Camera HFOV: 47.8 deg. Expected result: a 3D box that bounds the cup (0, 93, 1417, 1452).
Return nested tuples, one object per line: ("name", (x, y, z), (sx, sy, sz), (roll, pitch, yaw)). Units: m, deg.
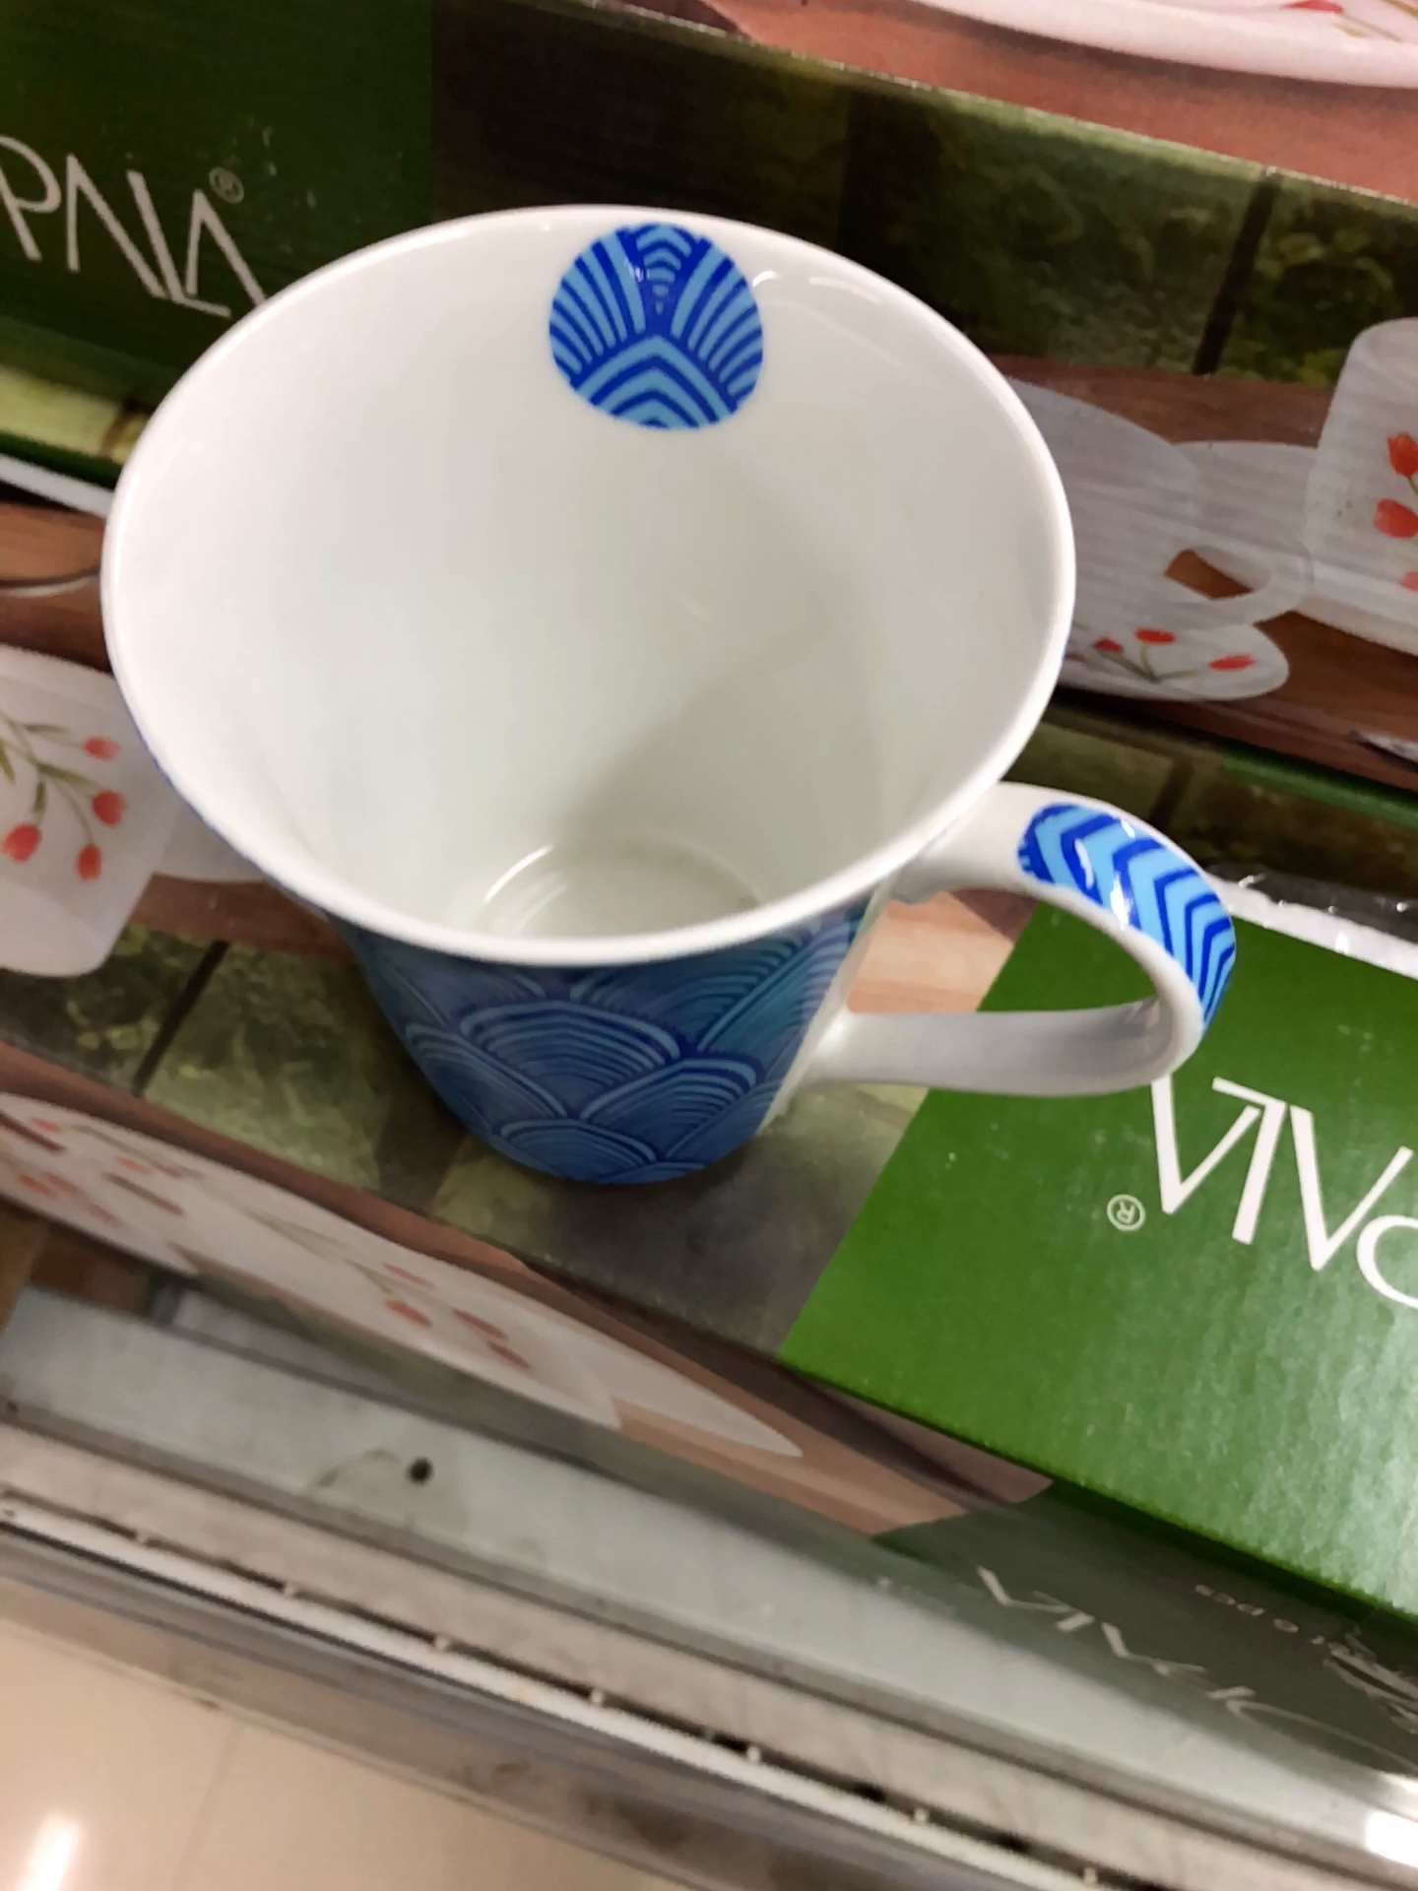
("cup", (0.007, -0.010, 0.181), (0.110, 0.100, 0.080), (24, 69, 11))
